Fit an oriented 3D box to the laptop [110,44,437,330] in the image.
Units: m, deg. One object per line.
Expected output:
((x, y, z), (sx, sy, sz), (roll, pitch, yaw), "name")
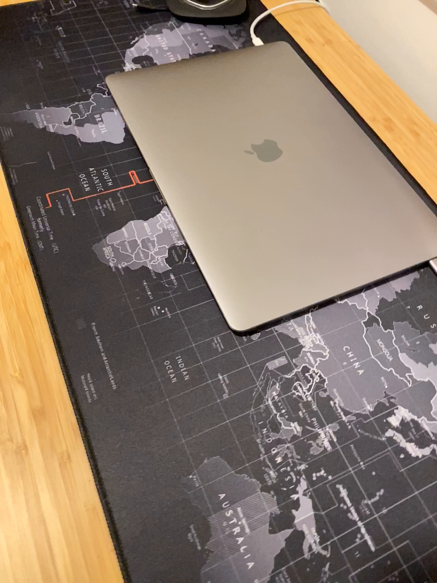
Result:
((0.046, -0.141, 0.458), (0.226, 0.002, 0.336), (-19, 62, -15), "laptop")
